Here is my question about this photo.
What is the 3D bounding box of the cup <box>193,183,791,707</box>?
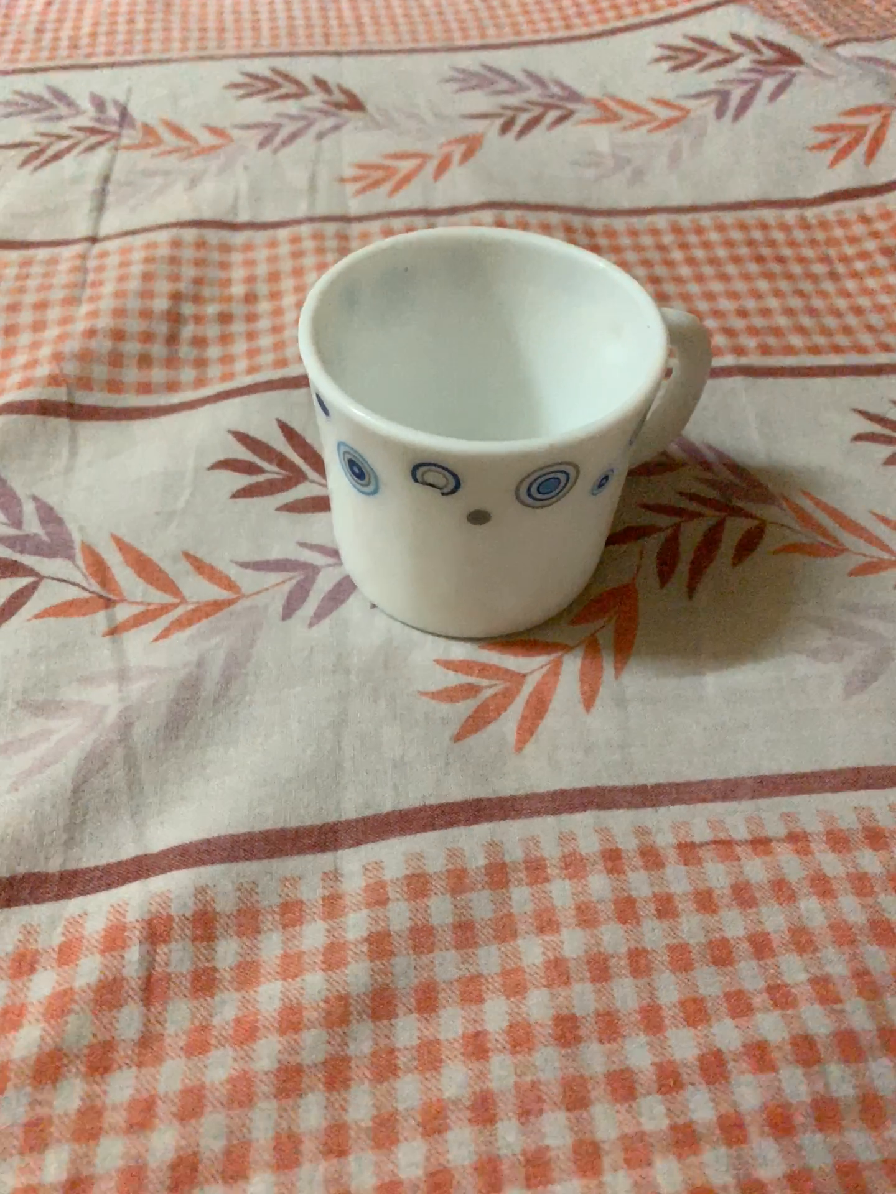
[{"bbox_3d":[0.005,-0.036,0.214,0.100,0.070,0.070,-15,53,-14],"label":"cup"}]
